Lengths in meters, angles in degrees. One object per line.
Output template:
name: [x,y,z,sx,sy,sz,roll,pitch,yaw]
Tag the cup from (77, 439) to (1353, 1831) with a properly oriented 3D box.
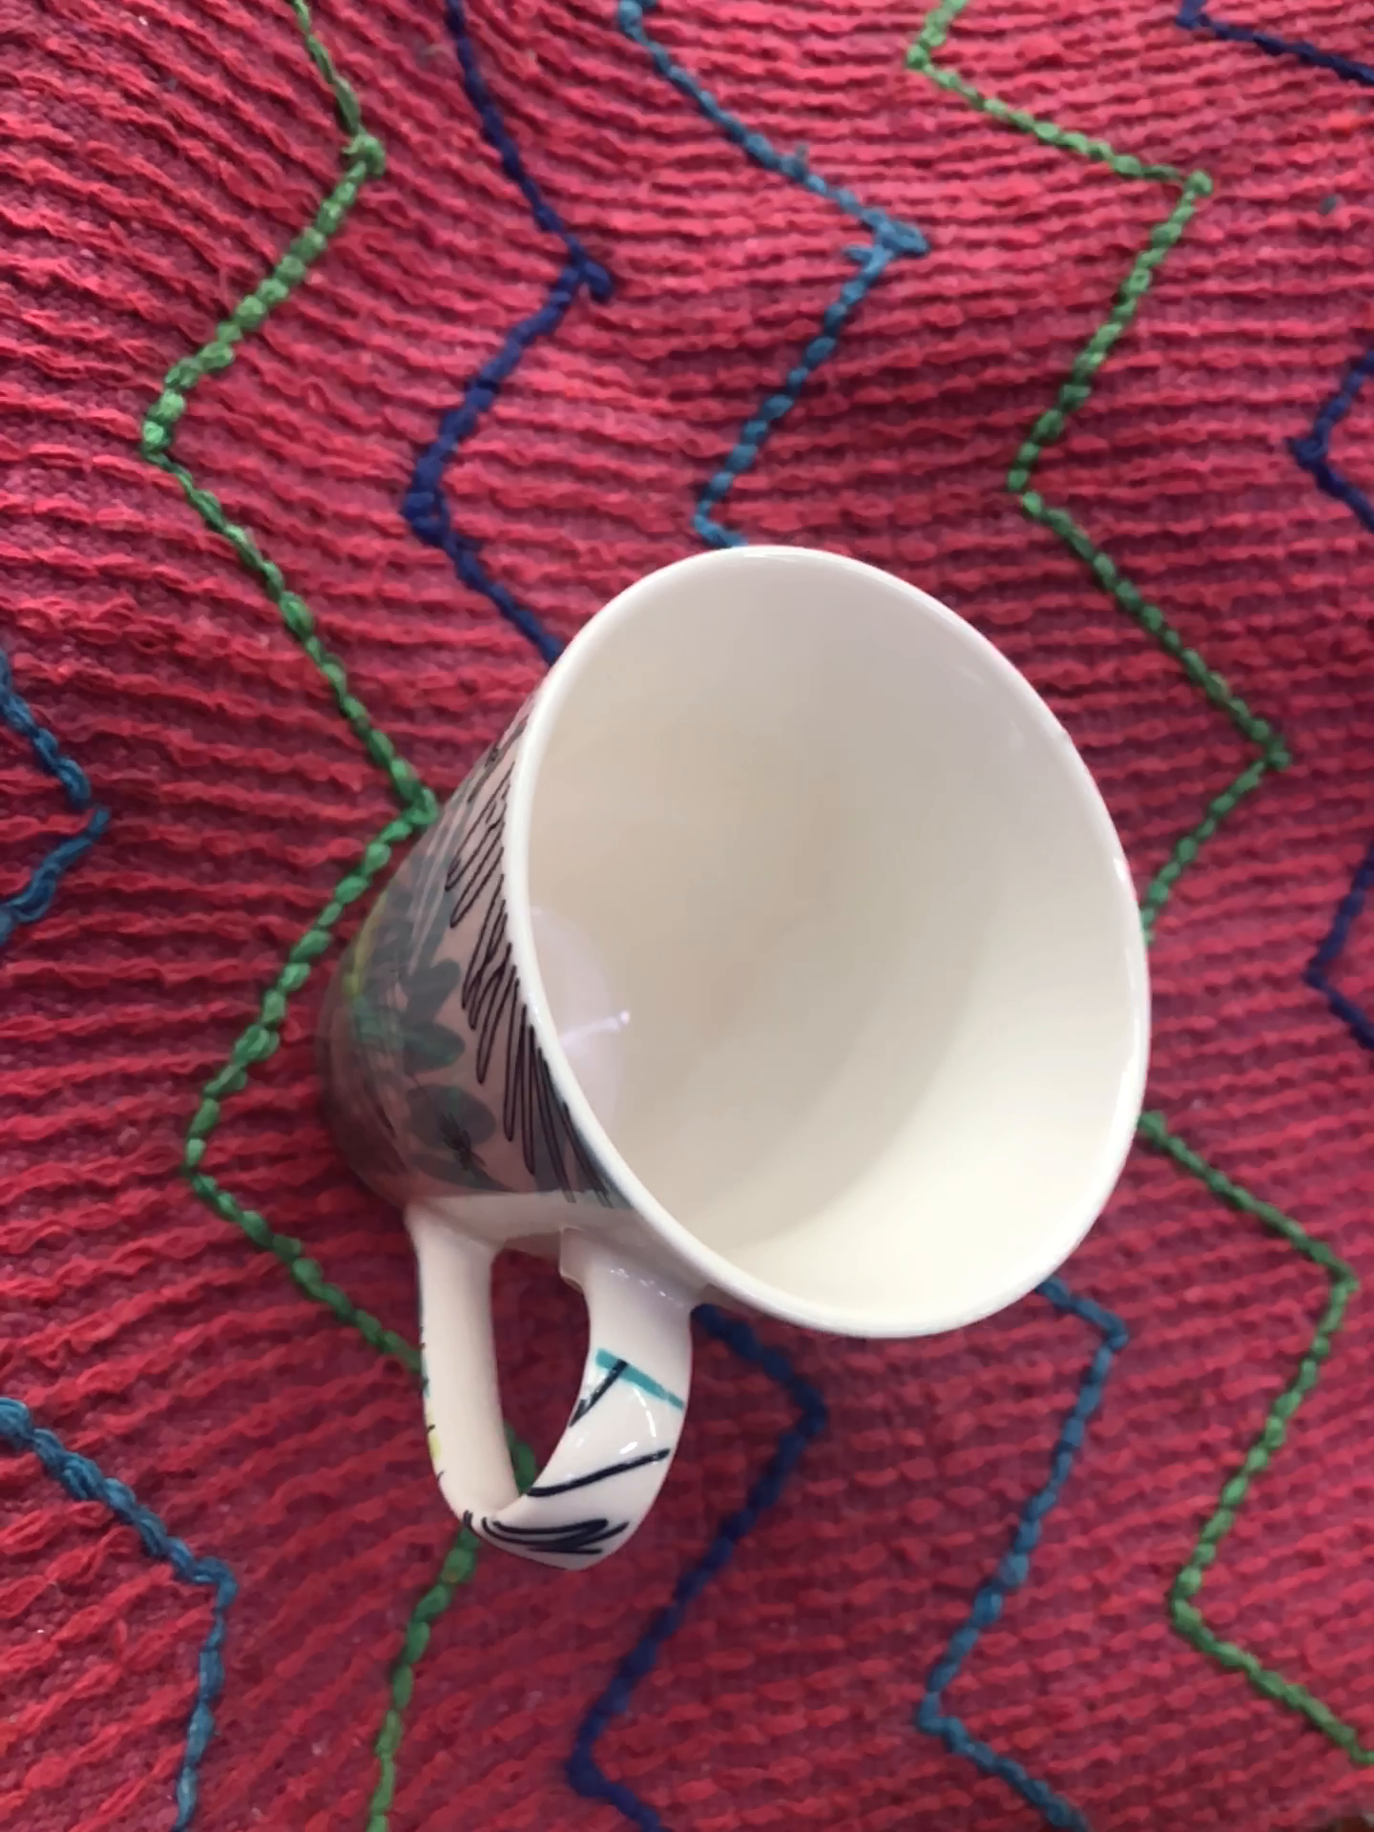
cup: [0.002,0.027,0.186,0.090,0.080,0.110,33,72,-22]
